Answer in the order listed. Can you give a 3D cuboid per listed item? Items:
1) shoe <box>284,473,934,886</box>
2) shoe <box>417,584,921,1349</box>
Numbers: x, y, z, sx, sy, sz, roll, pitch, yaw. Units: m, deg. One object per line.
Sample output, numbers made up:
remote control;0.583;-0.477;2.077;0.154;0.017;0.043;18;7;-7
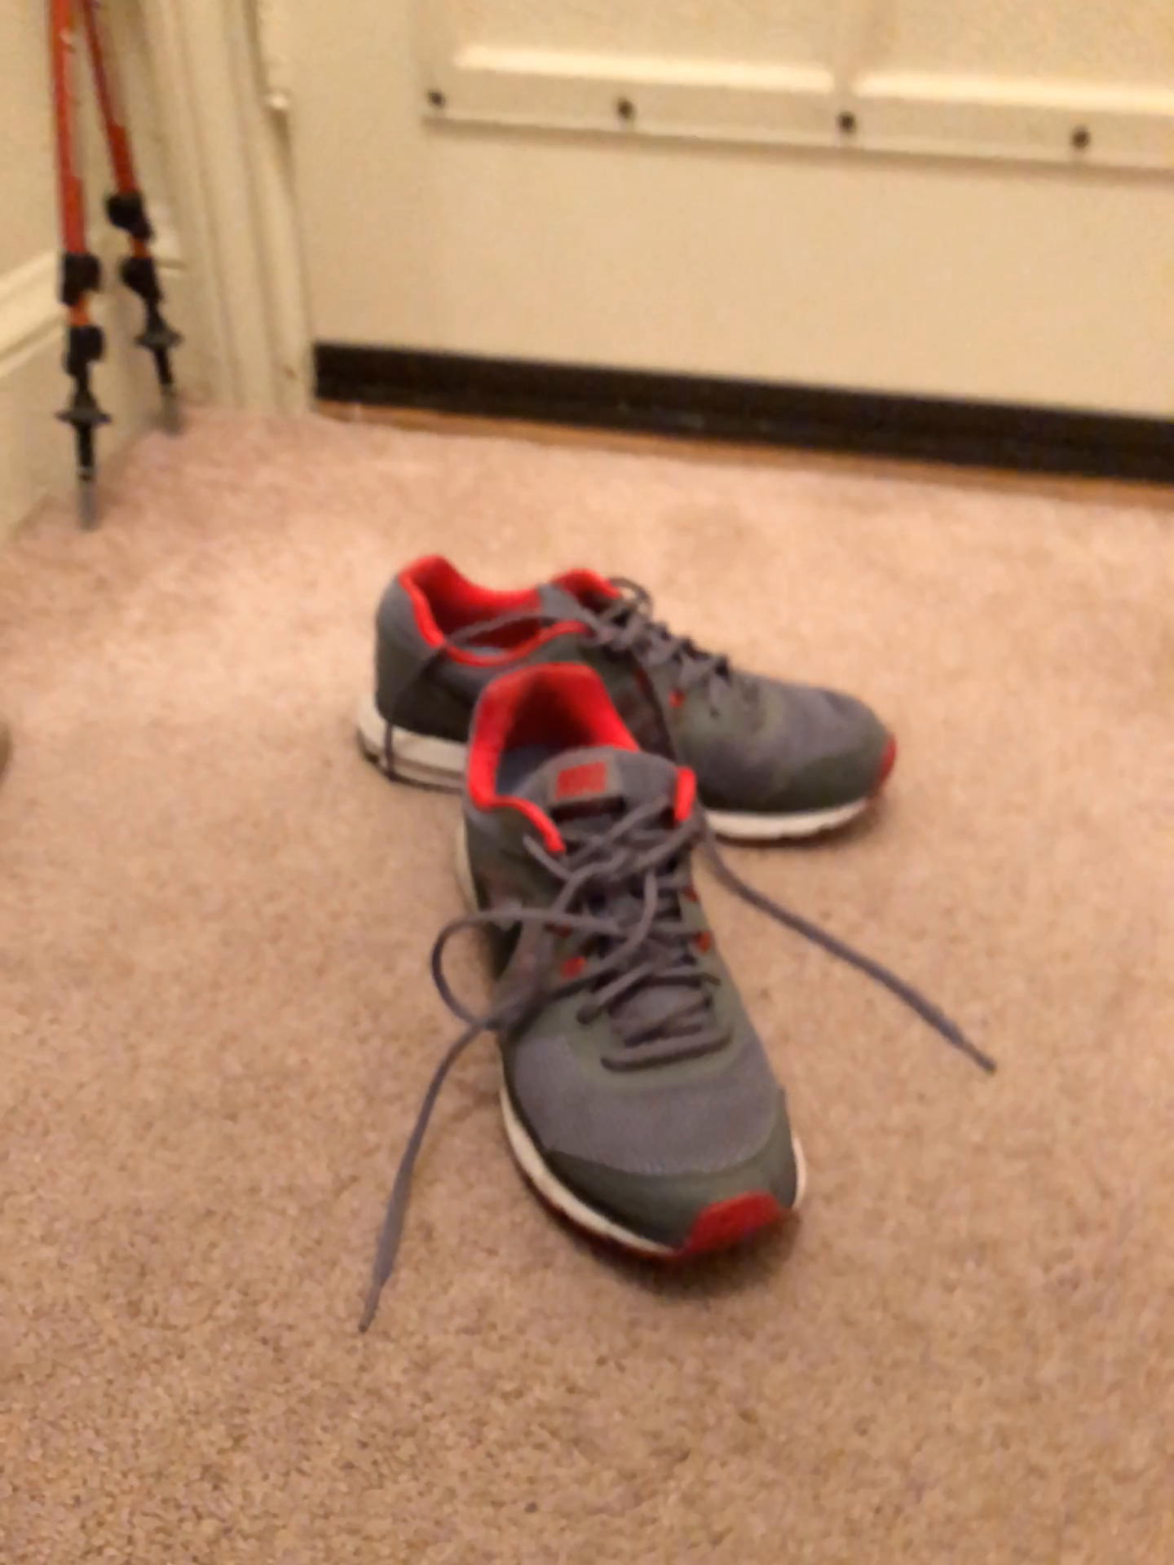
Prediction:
shoe;0.012;-0.059;0.677;0.297;0.119;0.114;12;40;13
shoe;0.012;0.051;0.543;0.113;0.119;0.299;-8;40;-11
